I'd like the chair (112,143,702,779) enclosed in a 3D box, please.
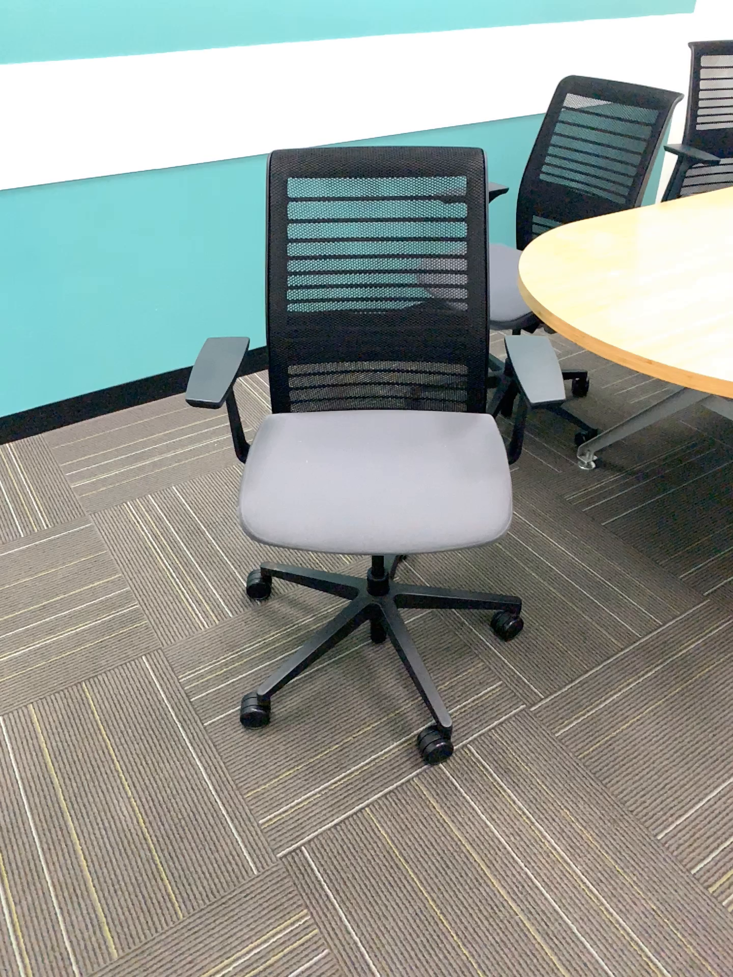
[{"bbox_3d":[0.032,-0.087,1.552,0.730,0.984,0.845,-2,36,-3],"label":"chair"}]
